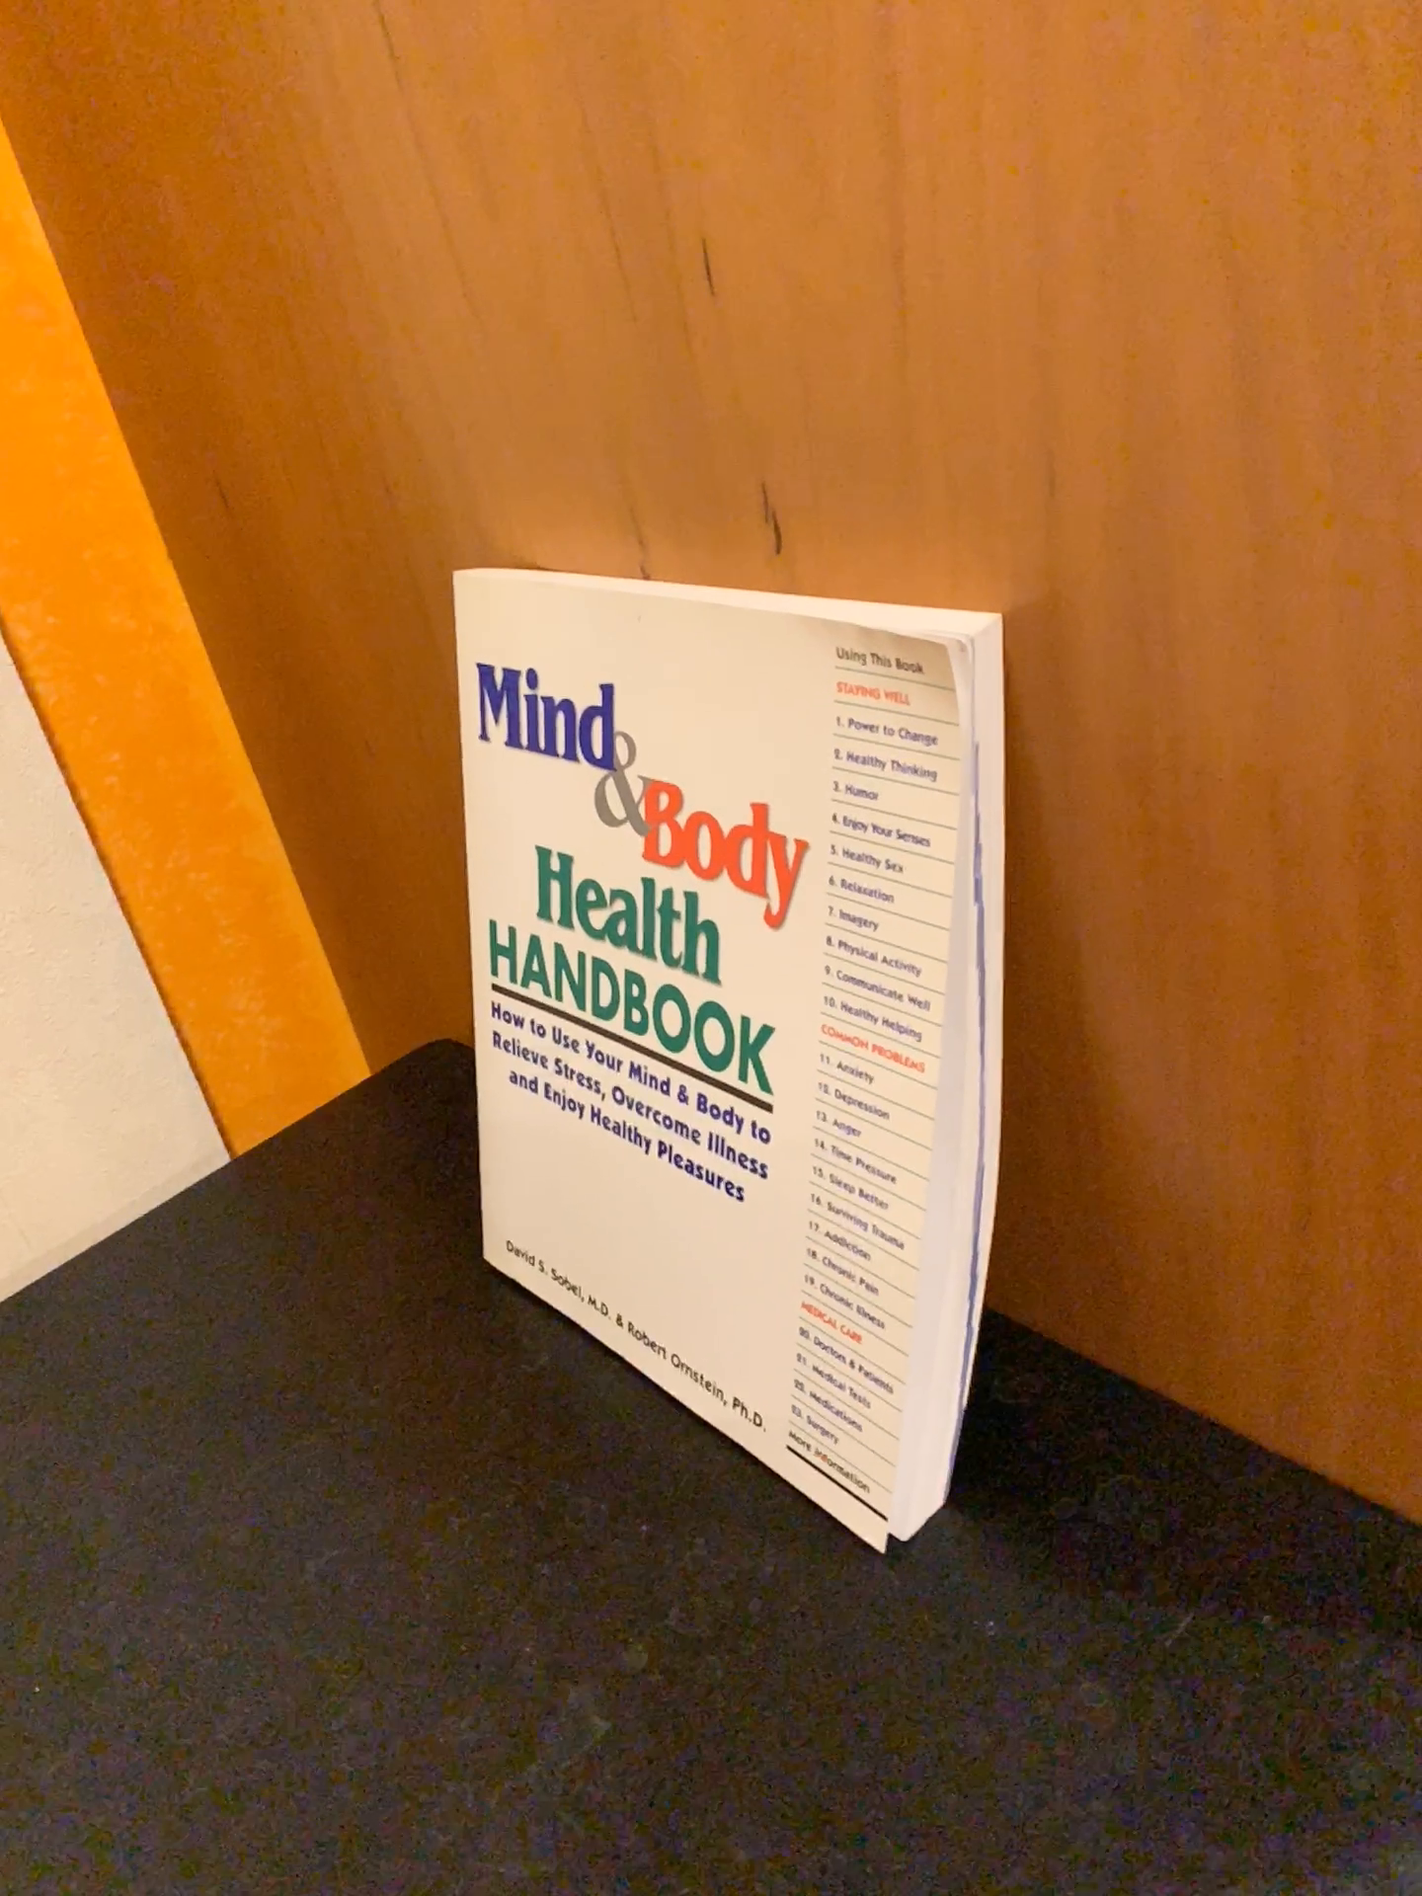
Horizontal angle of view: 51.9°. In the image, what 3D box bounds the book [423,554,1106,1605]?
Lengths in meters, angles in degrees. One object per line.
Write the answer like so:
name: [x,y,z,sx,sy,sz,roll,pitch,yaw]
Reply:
book: [-0.006,0.016,0.402,0.040,0.229,0.211,-12,22,-39]
